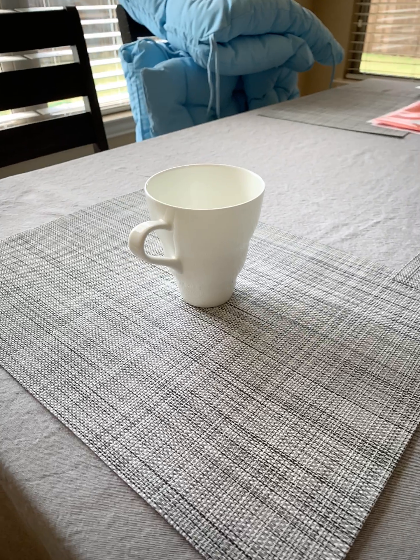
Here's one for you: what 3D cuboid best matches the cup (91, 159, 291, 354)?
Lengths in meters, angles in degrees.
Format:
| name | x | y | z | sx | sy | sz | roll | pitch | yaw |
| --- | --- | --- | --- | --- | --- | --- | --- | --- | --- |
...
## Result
| name | x | y | z | sx | sy | sz | roll | pitch | yaw |
| --- | --- | --- | --- | --- | --- | --- | --- | --- | --- |
| cup | -0.011 | -0.029 | 0.361 | 0.099 | 0.098 | 0.121 | 24 | 40 | 35 |
